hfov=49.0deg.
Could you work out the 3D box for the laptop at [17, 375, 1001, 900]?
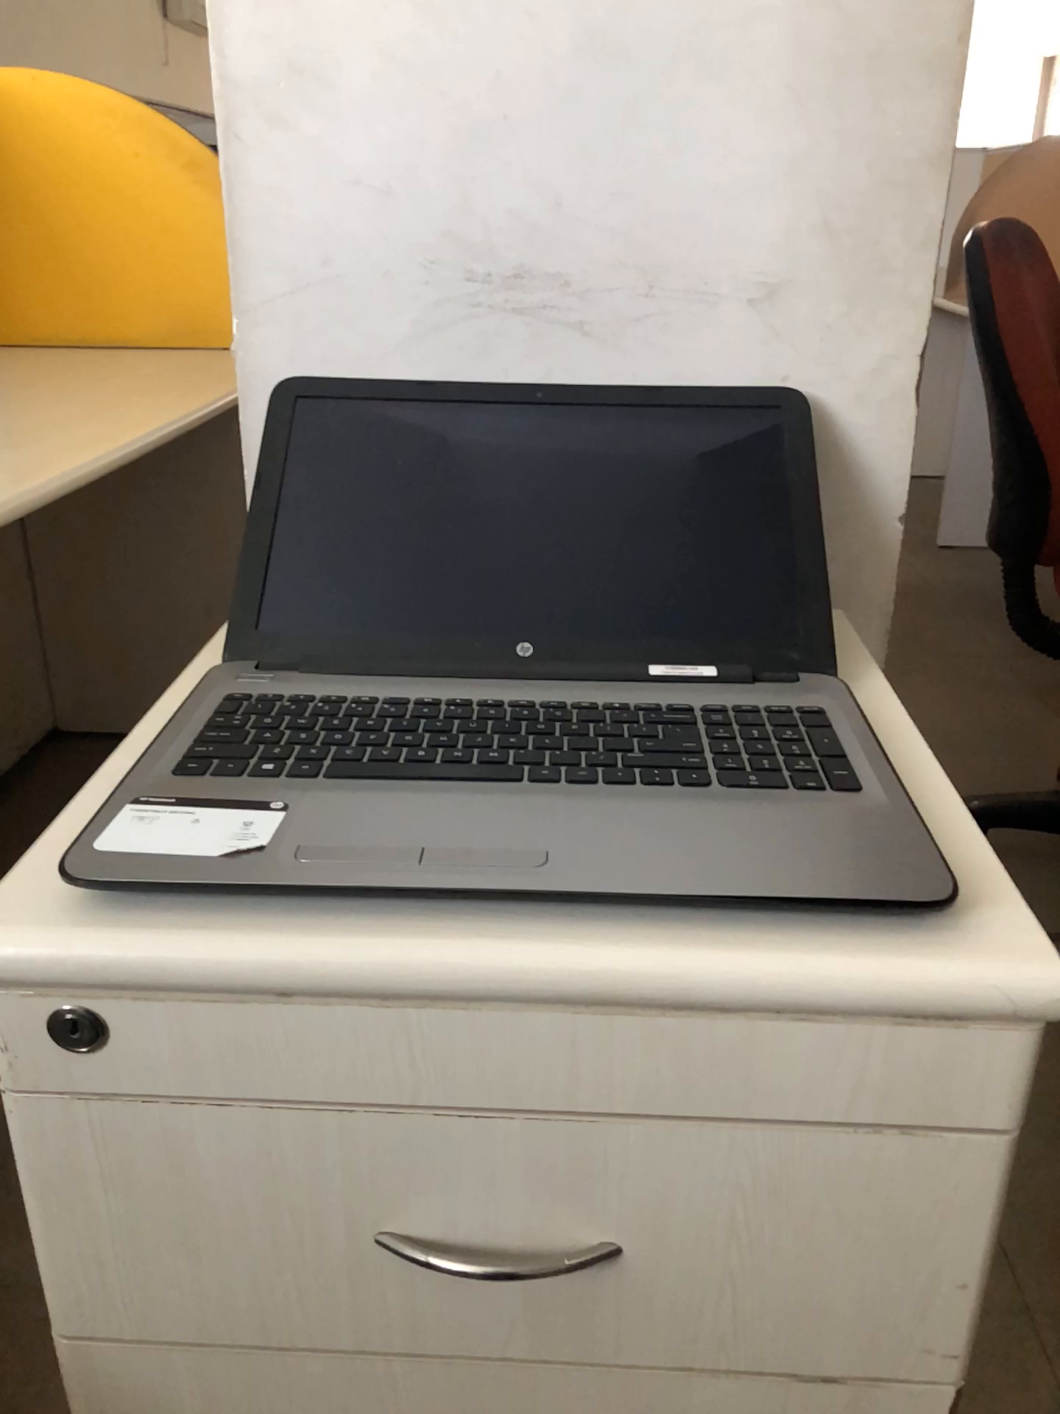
[{"bbox_3d":[-0.002,-0.078,0.646,0.361,0.136,0.428,1,25,2],"label":"laptop"}]
